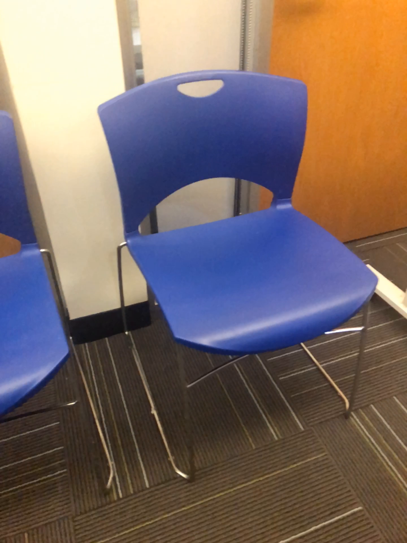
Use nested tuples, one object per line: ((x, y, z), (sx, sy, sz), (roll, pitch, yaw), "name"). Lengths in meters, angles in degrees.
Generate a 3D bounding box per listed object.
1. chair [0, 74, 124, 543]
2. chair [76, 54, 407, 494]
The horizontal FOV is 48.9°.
((-0.555, 0.120, 0.973), (0.521, 0.853, 0.634), (-14, 38, -18), "chair")
((0.074, -0.033, 1.094), (0.541, 0.773, 0.594), (-13, 38, -17), "chair")
